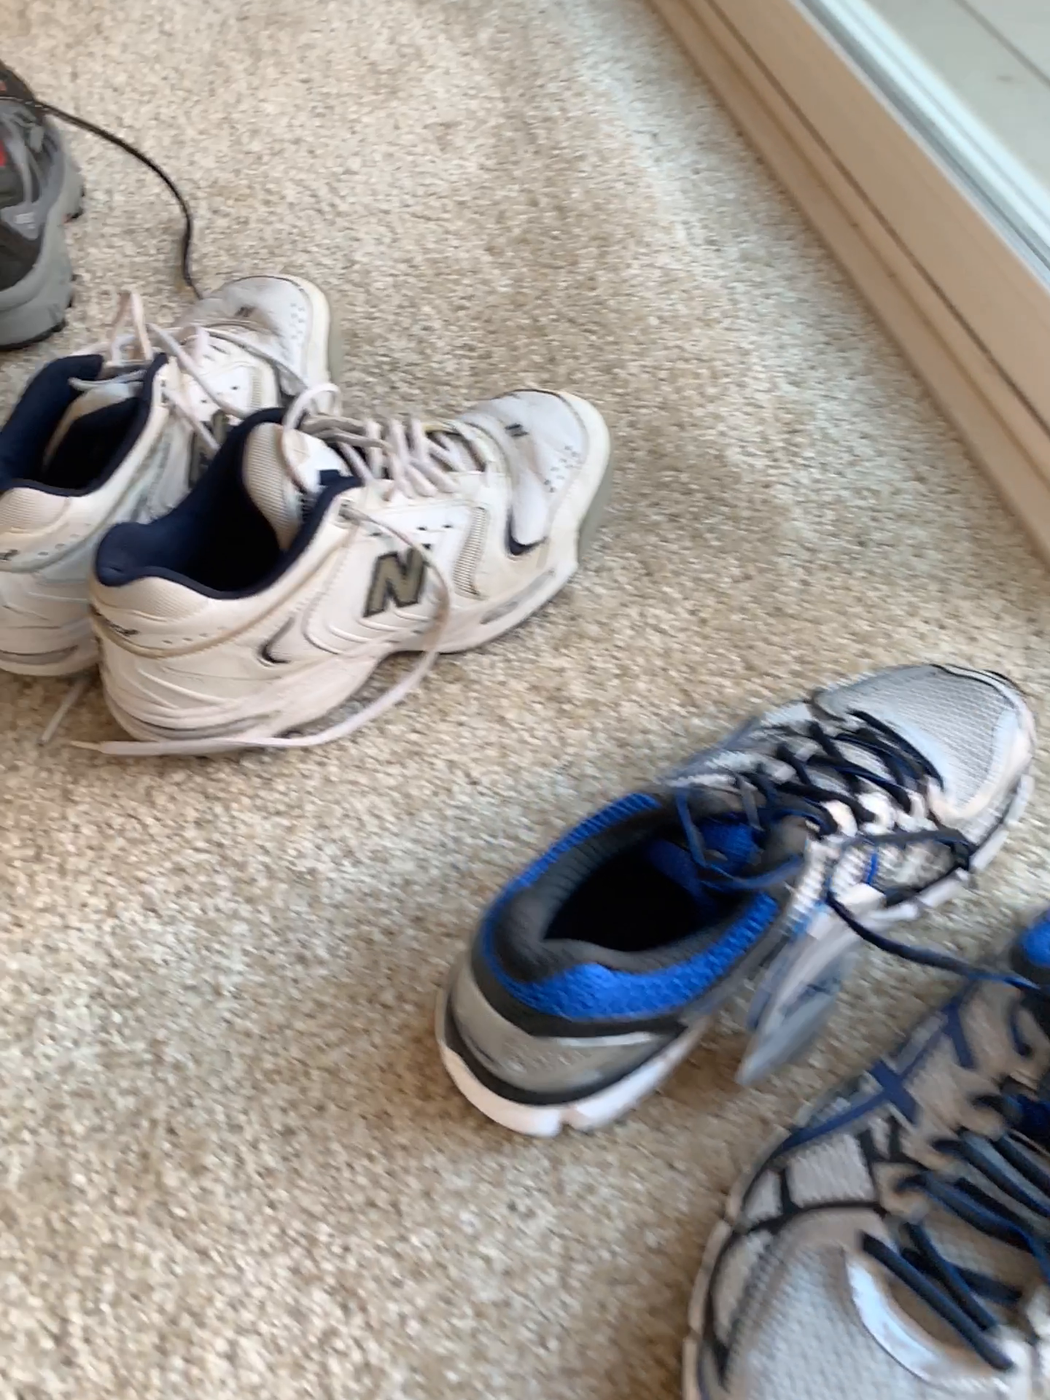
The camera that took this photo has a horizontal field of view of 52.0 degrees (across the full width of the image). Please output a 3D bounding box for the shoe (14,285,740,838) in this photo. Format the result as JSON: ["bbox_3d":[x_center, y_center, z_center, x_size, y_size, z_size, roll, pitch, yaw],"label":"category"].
[{"bbox_3d":[-0.057,-0.085,0.541,0.330,0.090,0.120,-33,63,-25],"label":"shoe"}]

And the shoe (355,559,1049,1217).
[{"bbox_3d":[0.104,0.067,0.479,0.340,0.090,0.110,-28,60,-22],"label":"shoe"}]

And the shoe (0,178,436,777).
[{"bbox_3d":[-0.173,-0.140,0.608,0.120,0.129,0.331,19,55,10],"label":"shoe"}]

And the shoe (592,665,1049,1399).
[{"bbox_3d":[0.176,0.133,0.353,0.321,0.090,0.110,-37,64,-27],"label":"shoe"}]

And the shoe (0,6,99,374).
[{"bbox_3d":[-0.355,-0.339,0.699,0.100,0.090,0.271,-14,56,-14],"label":"shoe"}]
